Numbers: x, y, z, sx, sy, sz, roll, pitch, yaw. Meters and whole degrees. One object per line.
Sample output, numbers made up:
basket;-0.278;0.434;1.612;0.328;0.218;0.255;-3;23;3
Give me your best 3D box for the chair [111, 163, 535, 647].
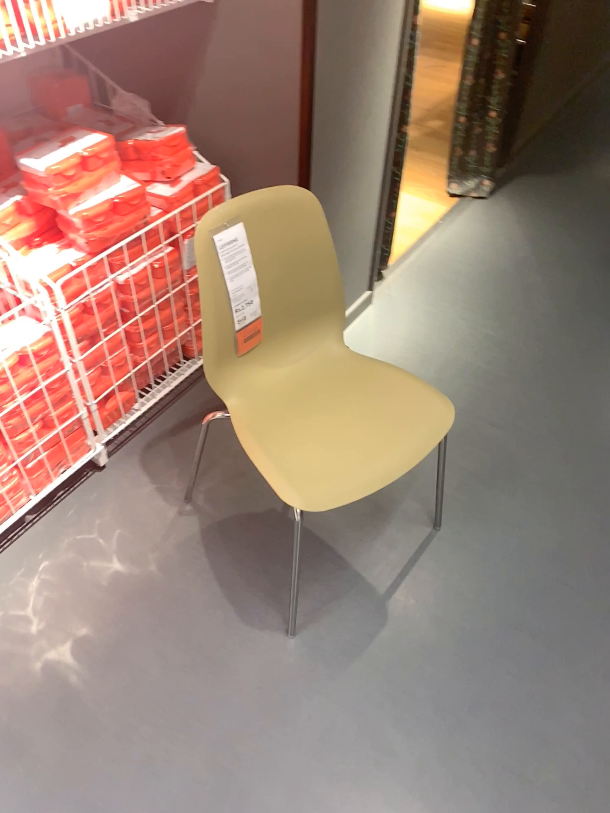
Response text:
chair;0.006;-0.003;1.329;0.501;0.728;0.551;-27;53;-26
